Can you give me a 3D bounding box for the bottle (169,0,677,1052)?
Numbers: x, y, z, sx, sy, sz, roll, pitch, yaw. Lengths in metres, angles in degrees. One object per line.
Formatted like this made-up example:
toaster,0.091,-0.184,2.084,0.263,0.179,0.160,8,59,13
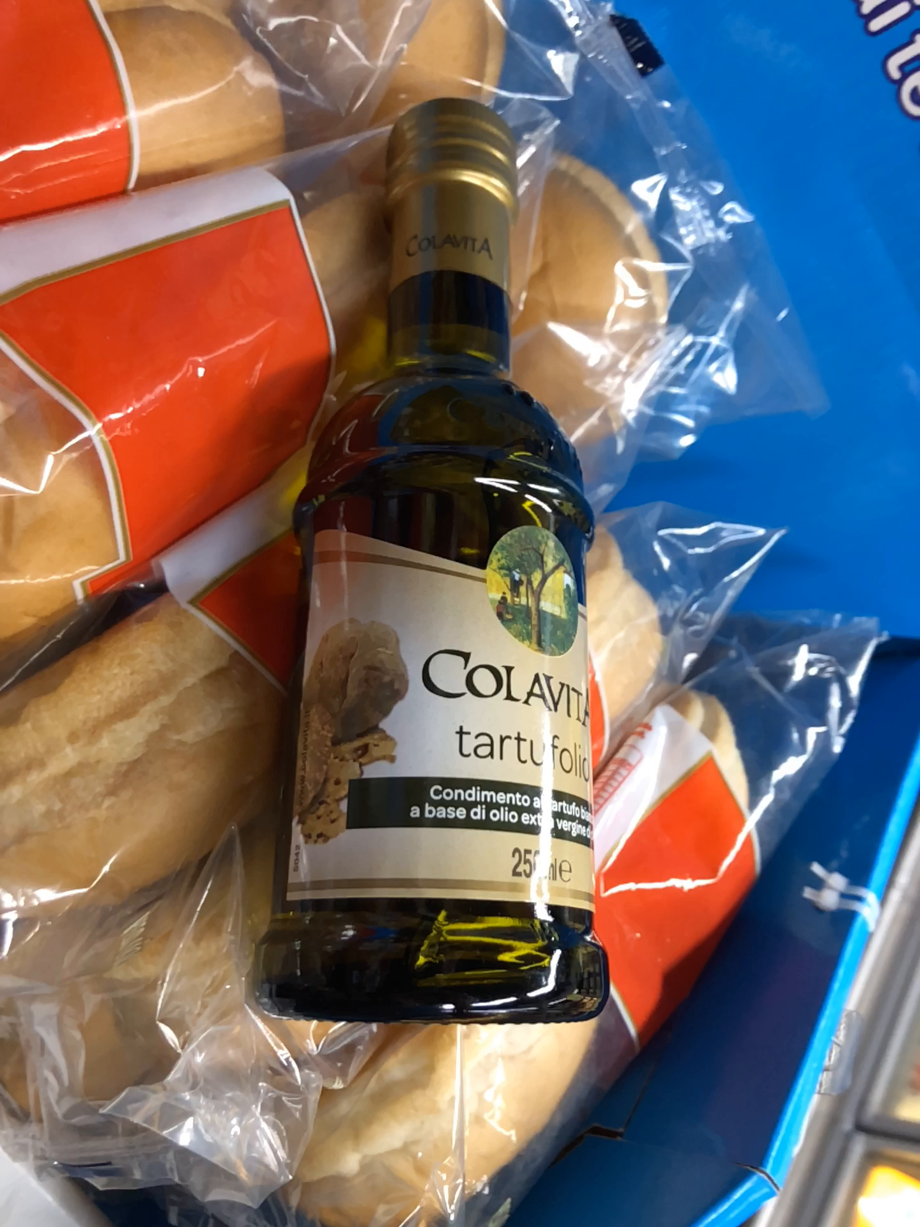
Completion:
bottle,-0.002,-0.027,0.216,0.070,0.060,0.210,15,70,-36
